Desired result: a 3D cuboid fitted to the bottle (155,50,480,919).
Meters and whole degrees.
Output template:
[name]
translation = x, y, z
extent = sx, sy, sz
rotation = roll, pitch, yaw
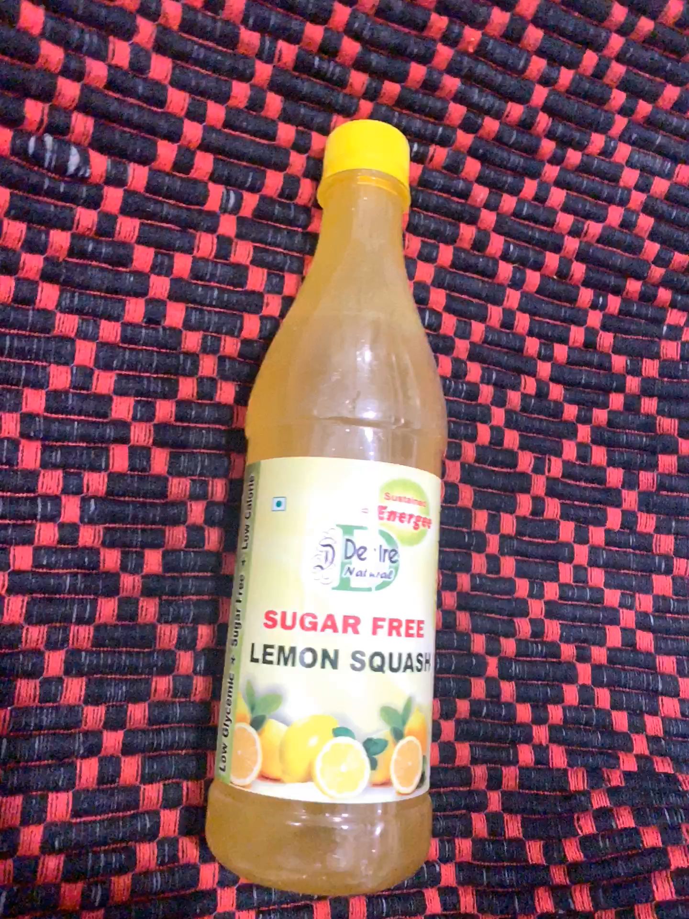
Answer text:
[bottle]
translation = -0.006, -0.001, 0.223
extent = 0.070, 0.060, 0.230
rotation = 9, 73, -22
